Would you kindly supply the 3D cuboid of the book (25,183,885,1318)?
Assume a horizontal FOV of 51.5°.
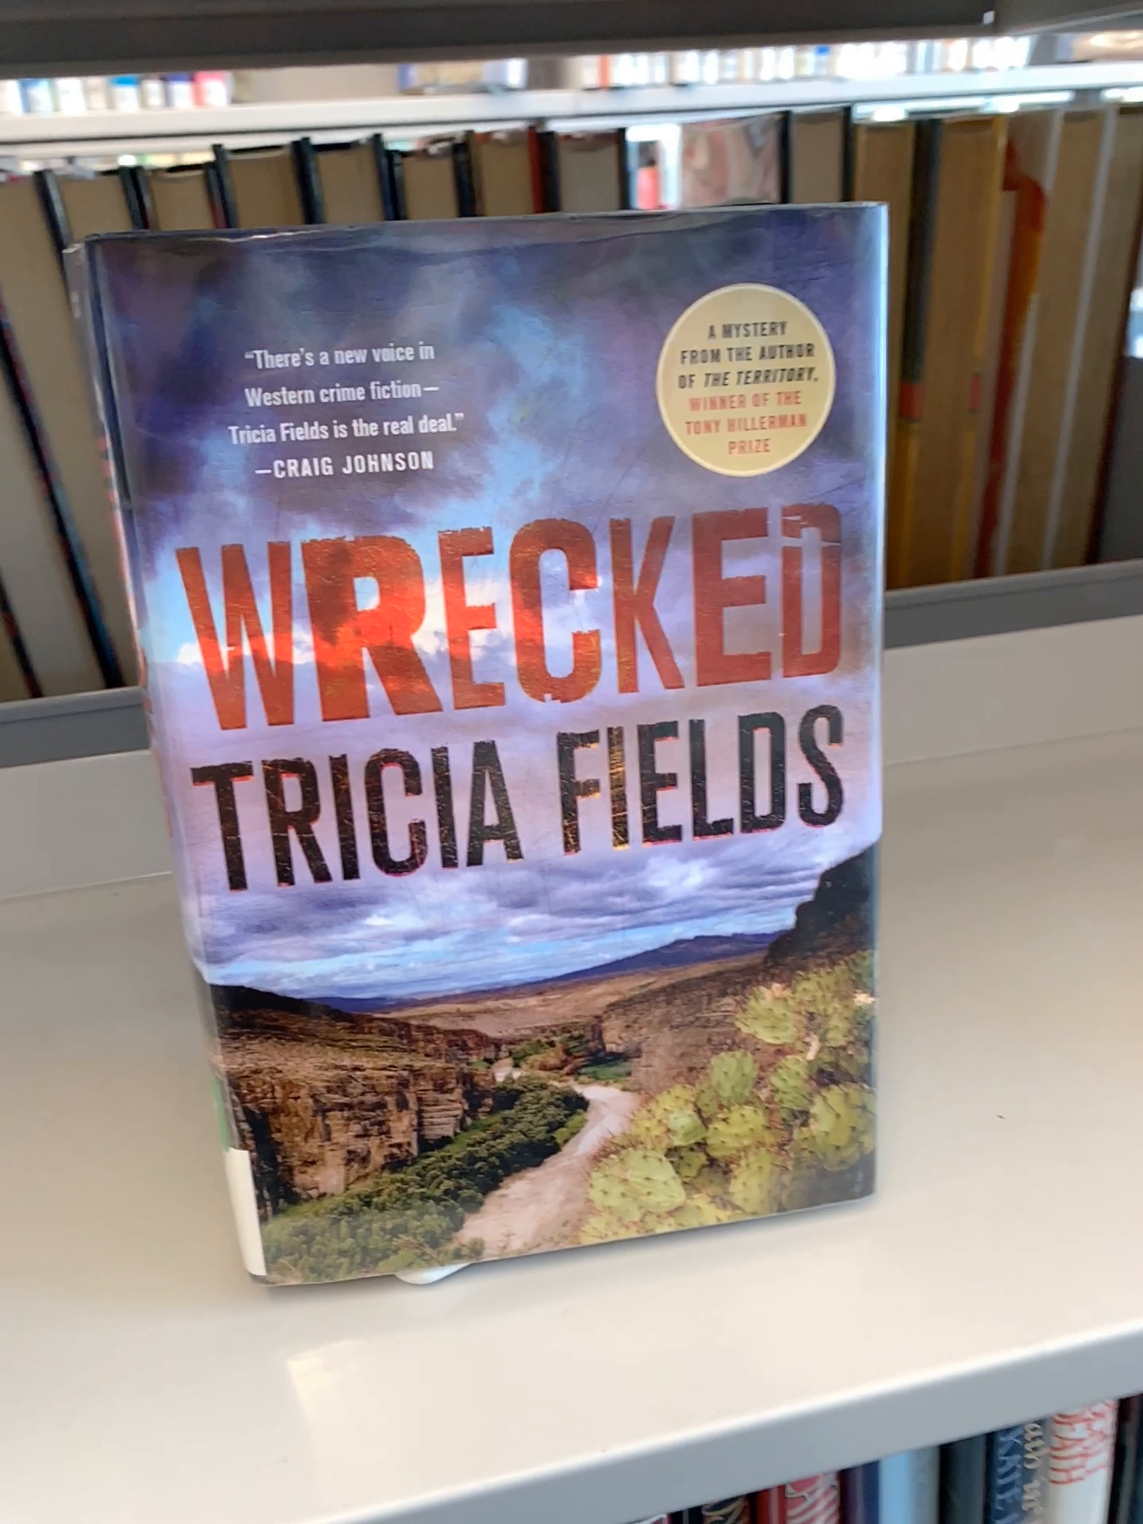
[{"bbox_3d":[-0.011,0.002,0.248,0.146,0.213,0.035,-7,16,-8],"label":"book"}]
